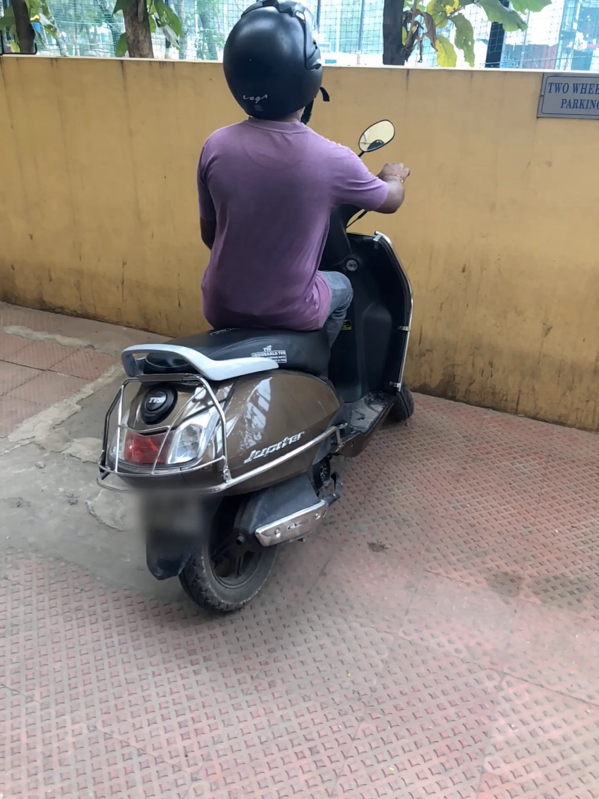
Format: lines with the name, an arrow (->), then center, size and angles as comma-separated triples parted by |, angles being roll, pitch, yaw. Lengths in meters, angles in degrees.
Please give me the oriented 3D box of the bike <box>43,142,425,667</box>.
bike -> -0.054, -0.211, 2.437 | 0.644, 1.182, 1.722 | 10, 29, 17
